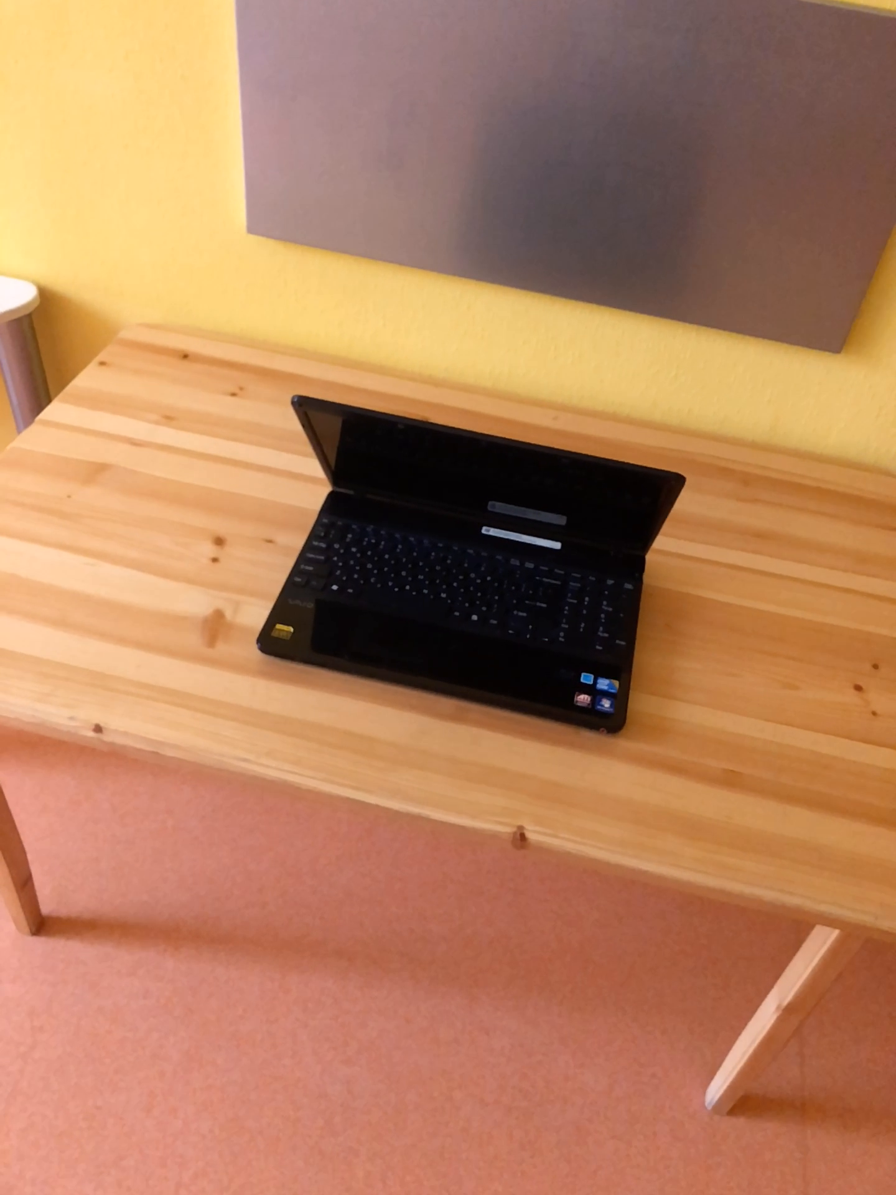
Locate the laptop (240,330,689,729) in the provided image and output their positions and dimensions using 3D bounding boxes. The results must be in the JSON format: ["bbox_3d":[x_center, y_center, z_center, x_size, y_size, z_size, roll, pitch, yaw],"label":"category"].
[{"bbox_3d":[0.022,-0.073,0.962,0.361,0.200,0.249,12,45,6],"label":"laptop"}]
